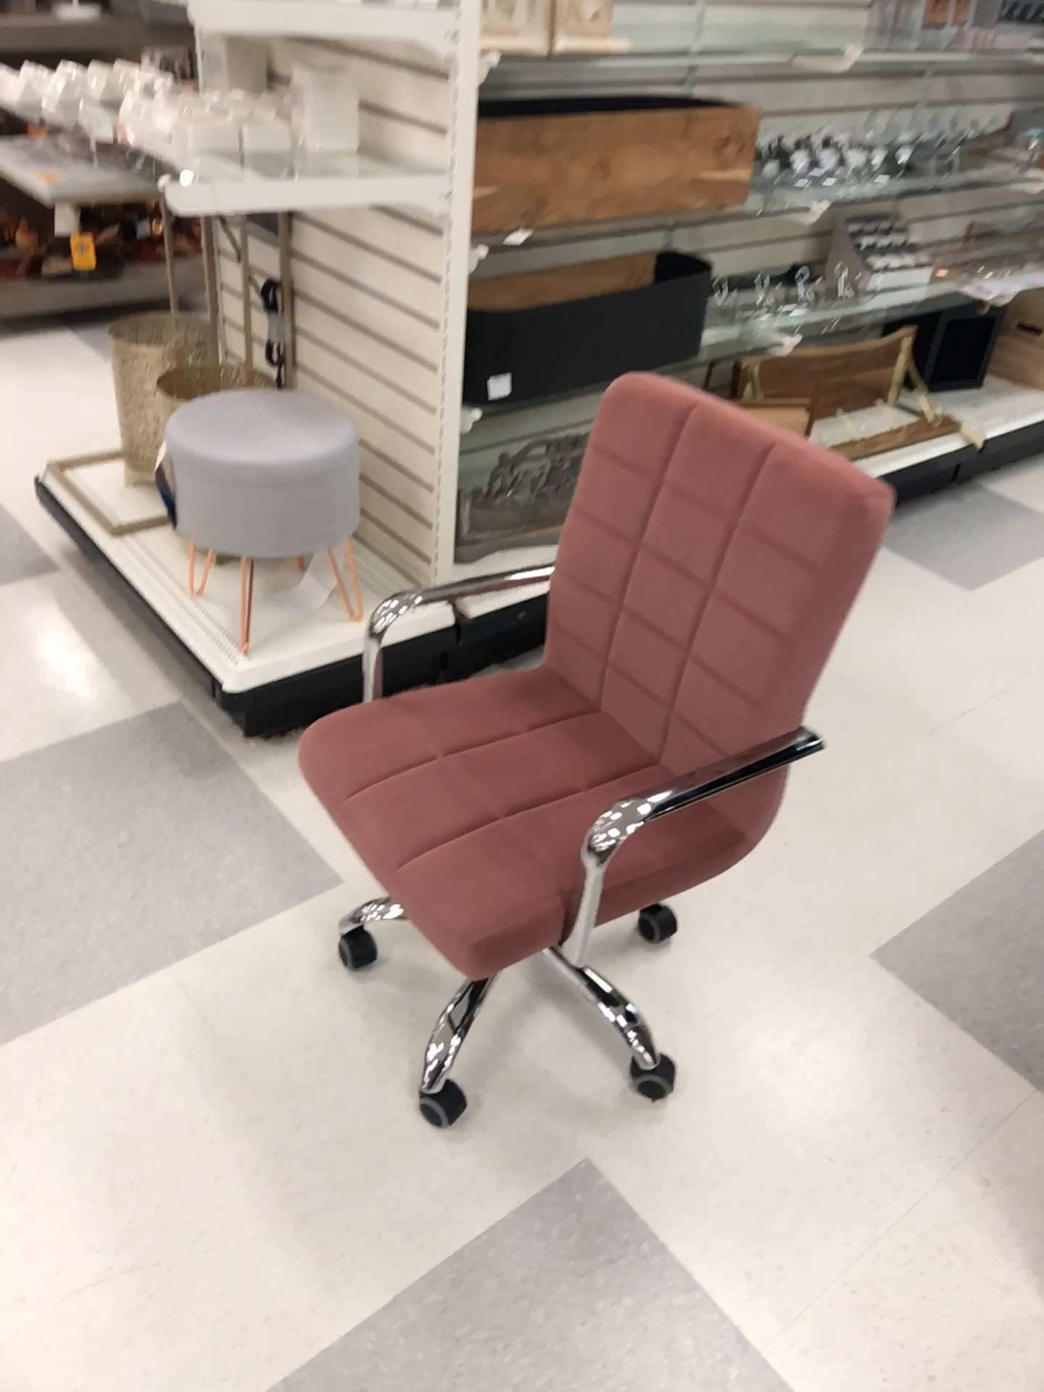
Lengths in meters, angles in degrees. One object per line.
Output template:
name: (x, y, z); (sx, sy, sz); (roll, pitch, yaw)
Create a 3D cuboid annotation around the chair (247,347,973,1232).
chair: (0.050, 0.088, 1.487); (0.570, 0.842, 0.566); (-19, 42, -31)
